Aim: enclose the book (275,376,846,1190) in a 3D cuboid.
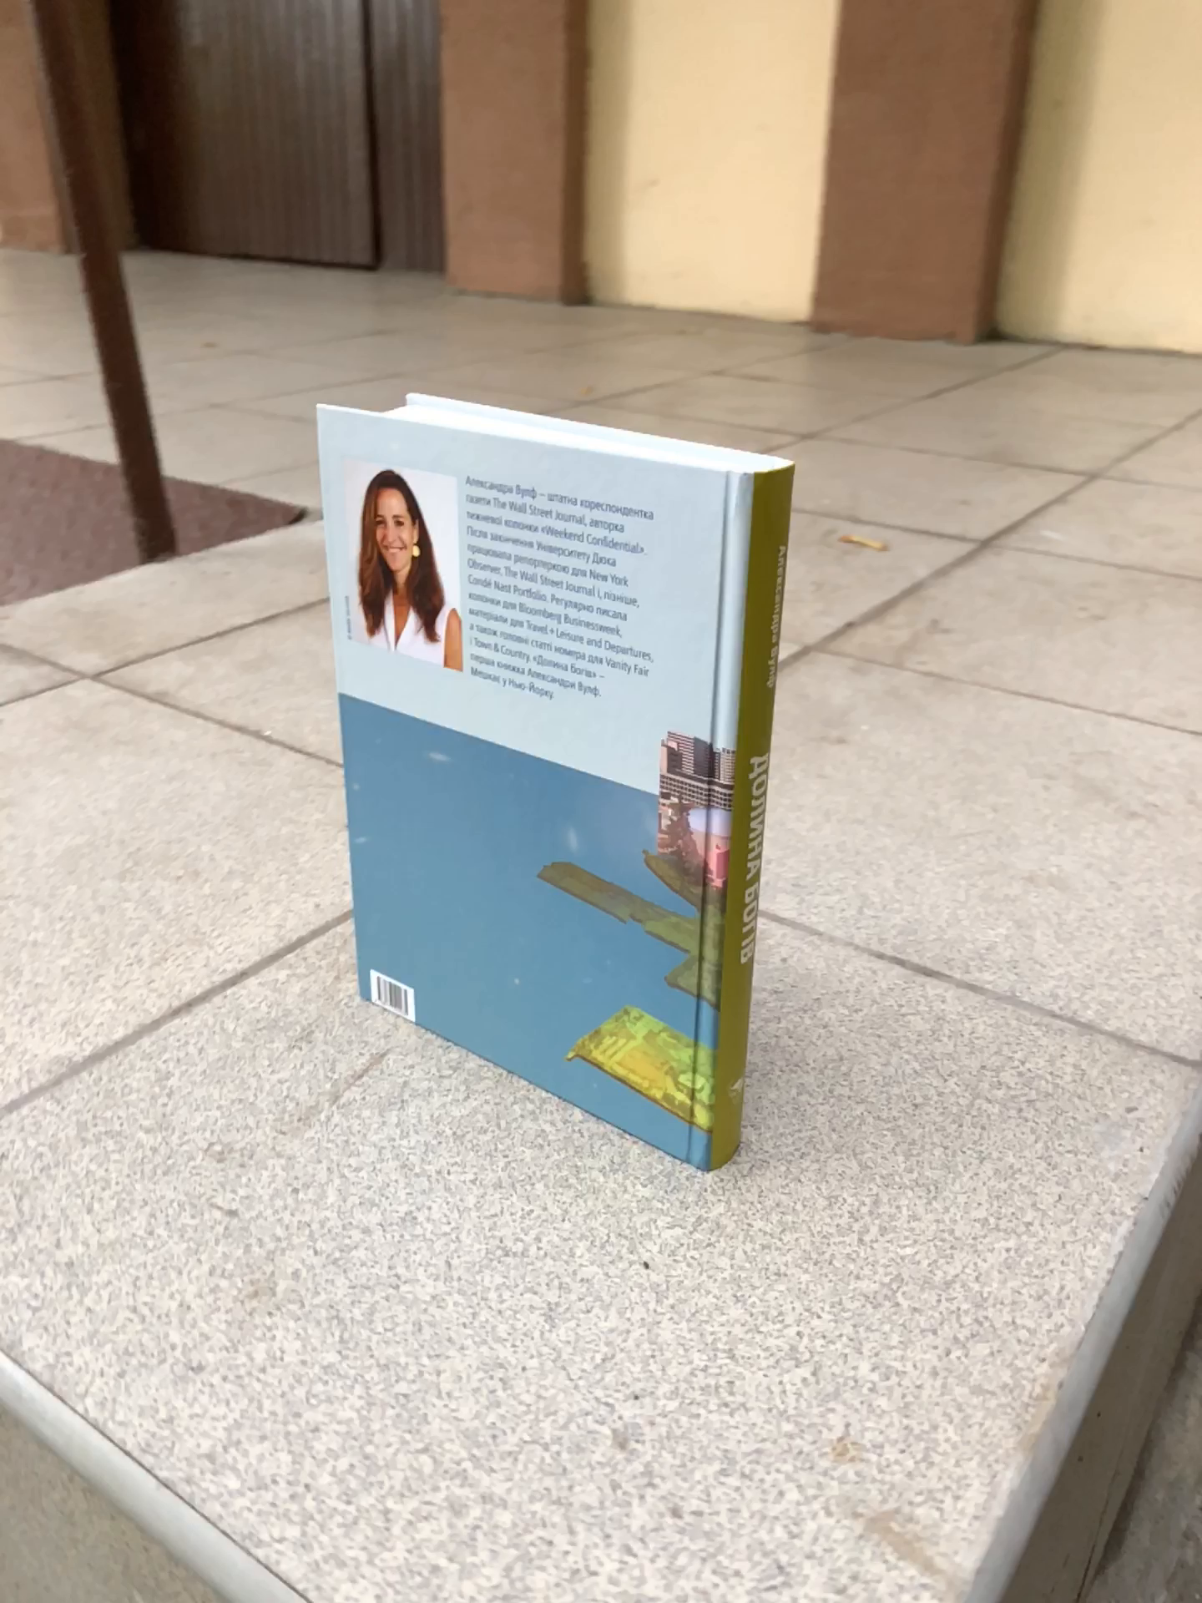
[{"bbox_3d":[-0.017,-0.009,0.400,0.160,0.208,0.045,19,32,33],"label":"book"}]
